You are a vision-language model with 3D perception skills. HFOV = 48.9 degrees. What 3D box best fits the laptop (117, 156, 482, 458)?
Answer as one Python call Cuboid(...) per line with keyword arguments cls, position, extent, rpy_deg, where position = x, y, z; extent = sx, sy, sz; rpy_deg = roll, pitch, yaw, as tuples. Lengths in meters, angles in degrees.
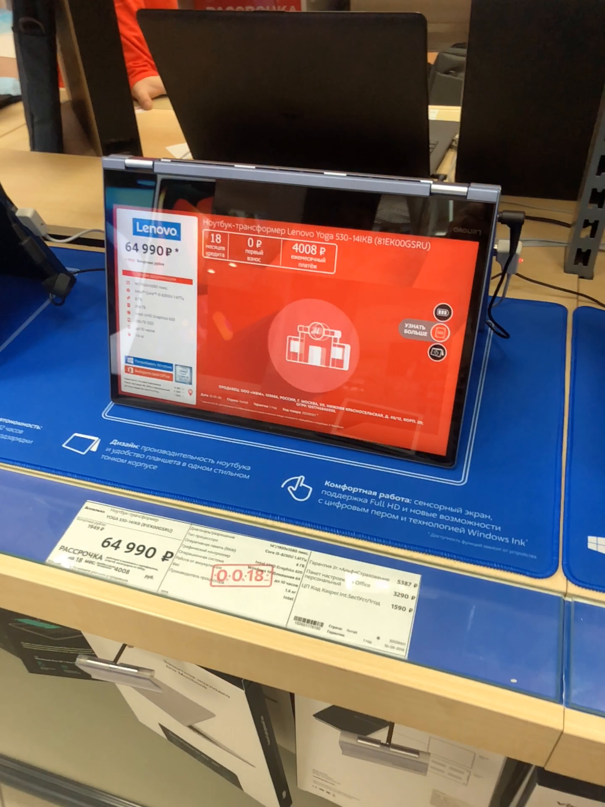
Cuboid(cls="laptop", position=(0.018, -0.070, 0.713), extent=(0.305, 0.157, 0.221), rpy_deg=(9, 6, 12))
